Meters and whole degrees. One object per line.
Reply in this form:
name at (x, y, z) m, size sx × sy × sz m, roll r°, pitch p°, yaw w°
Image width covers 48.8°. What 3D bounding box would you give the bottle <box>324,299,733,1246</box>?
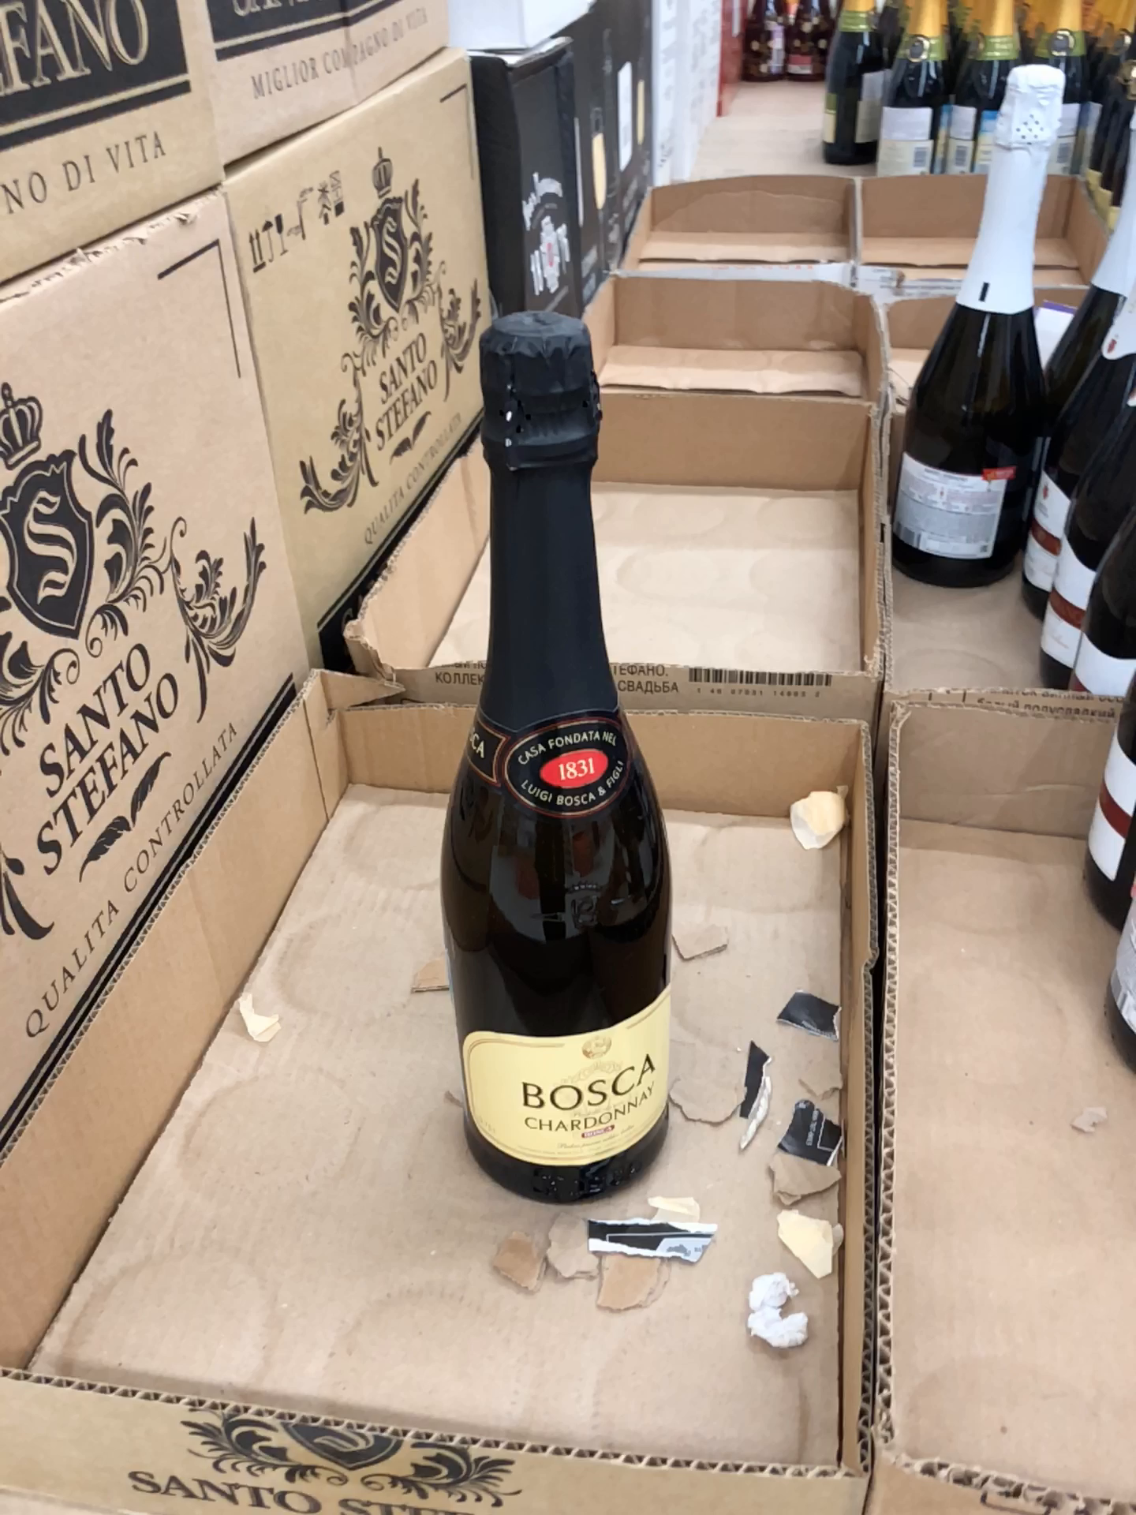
bottle at (-0.008, 0.023, 0.410) m, size 0.090 × 0.308 × 0.080 m, roll -10°, pitch 36°, yaw -10°
